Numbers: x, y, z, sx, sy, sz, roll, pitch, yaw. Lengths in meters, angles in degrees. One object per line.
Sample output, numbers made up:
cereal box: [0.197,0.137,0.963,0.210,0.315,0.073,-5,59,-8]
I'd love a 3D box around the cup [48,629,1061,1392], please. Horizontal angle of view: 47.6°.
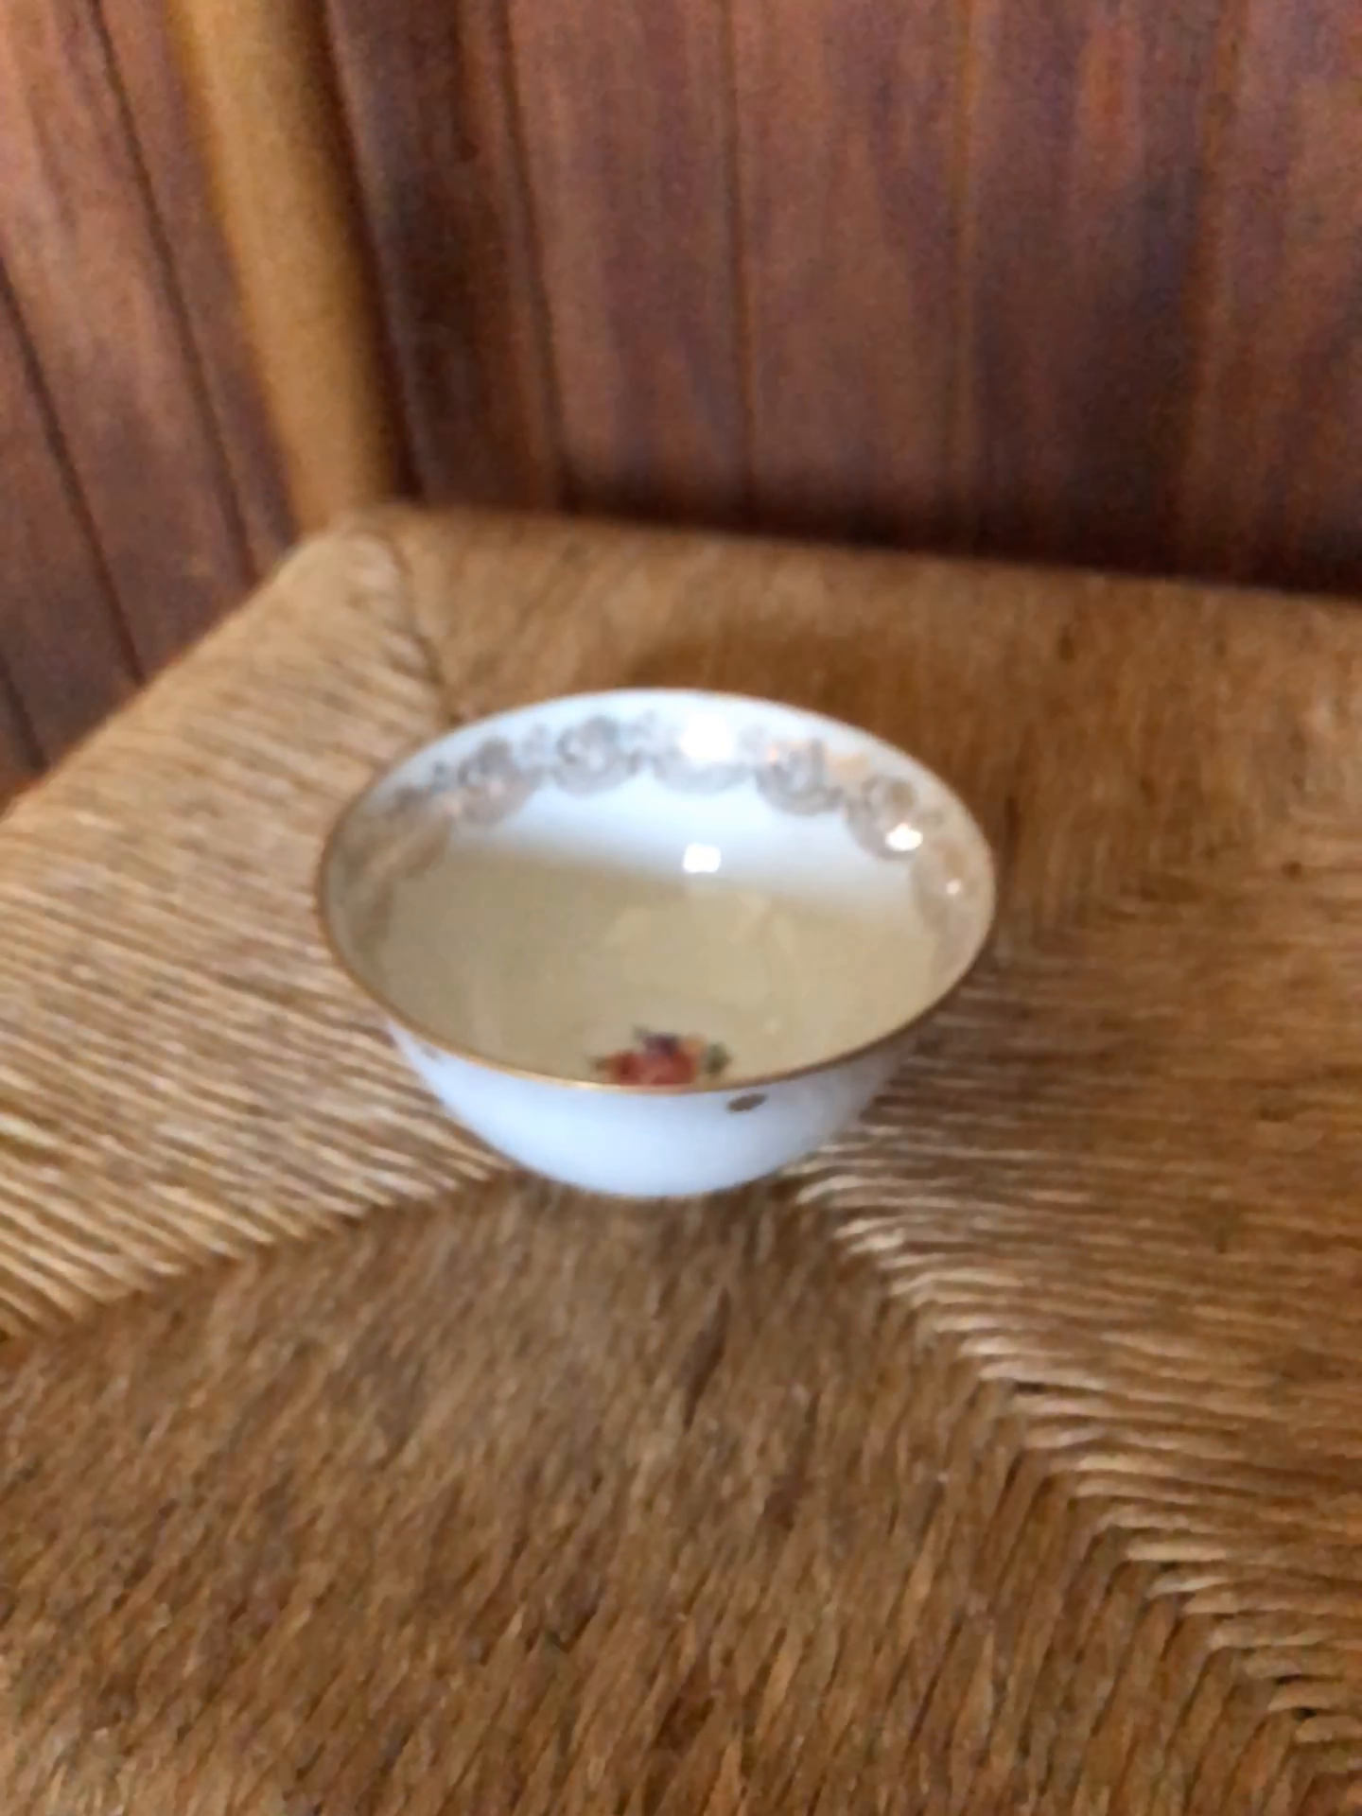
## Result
cup: [-0.011,0.003,0.282,0.130,0.040,0.141,-2,34,1]
